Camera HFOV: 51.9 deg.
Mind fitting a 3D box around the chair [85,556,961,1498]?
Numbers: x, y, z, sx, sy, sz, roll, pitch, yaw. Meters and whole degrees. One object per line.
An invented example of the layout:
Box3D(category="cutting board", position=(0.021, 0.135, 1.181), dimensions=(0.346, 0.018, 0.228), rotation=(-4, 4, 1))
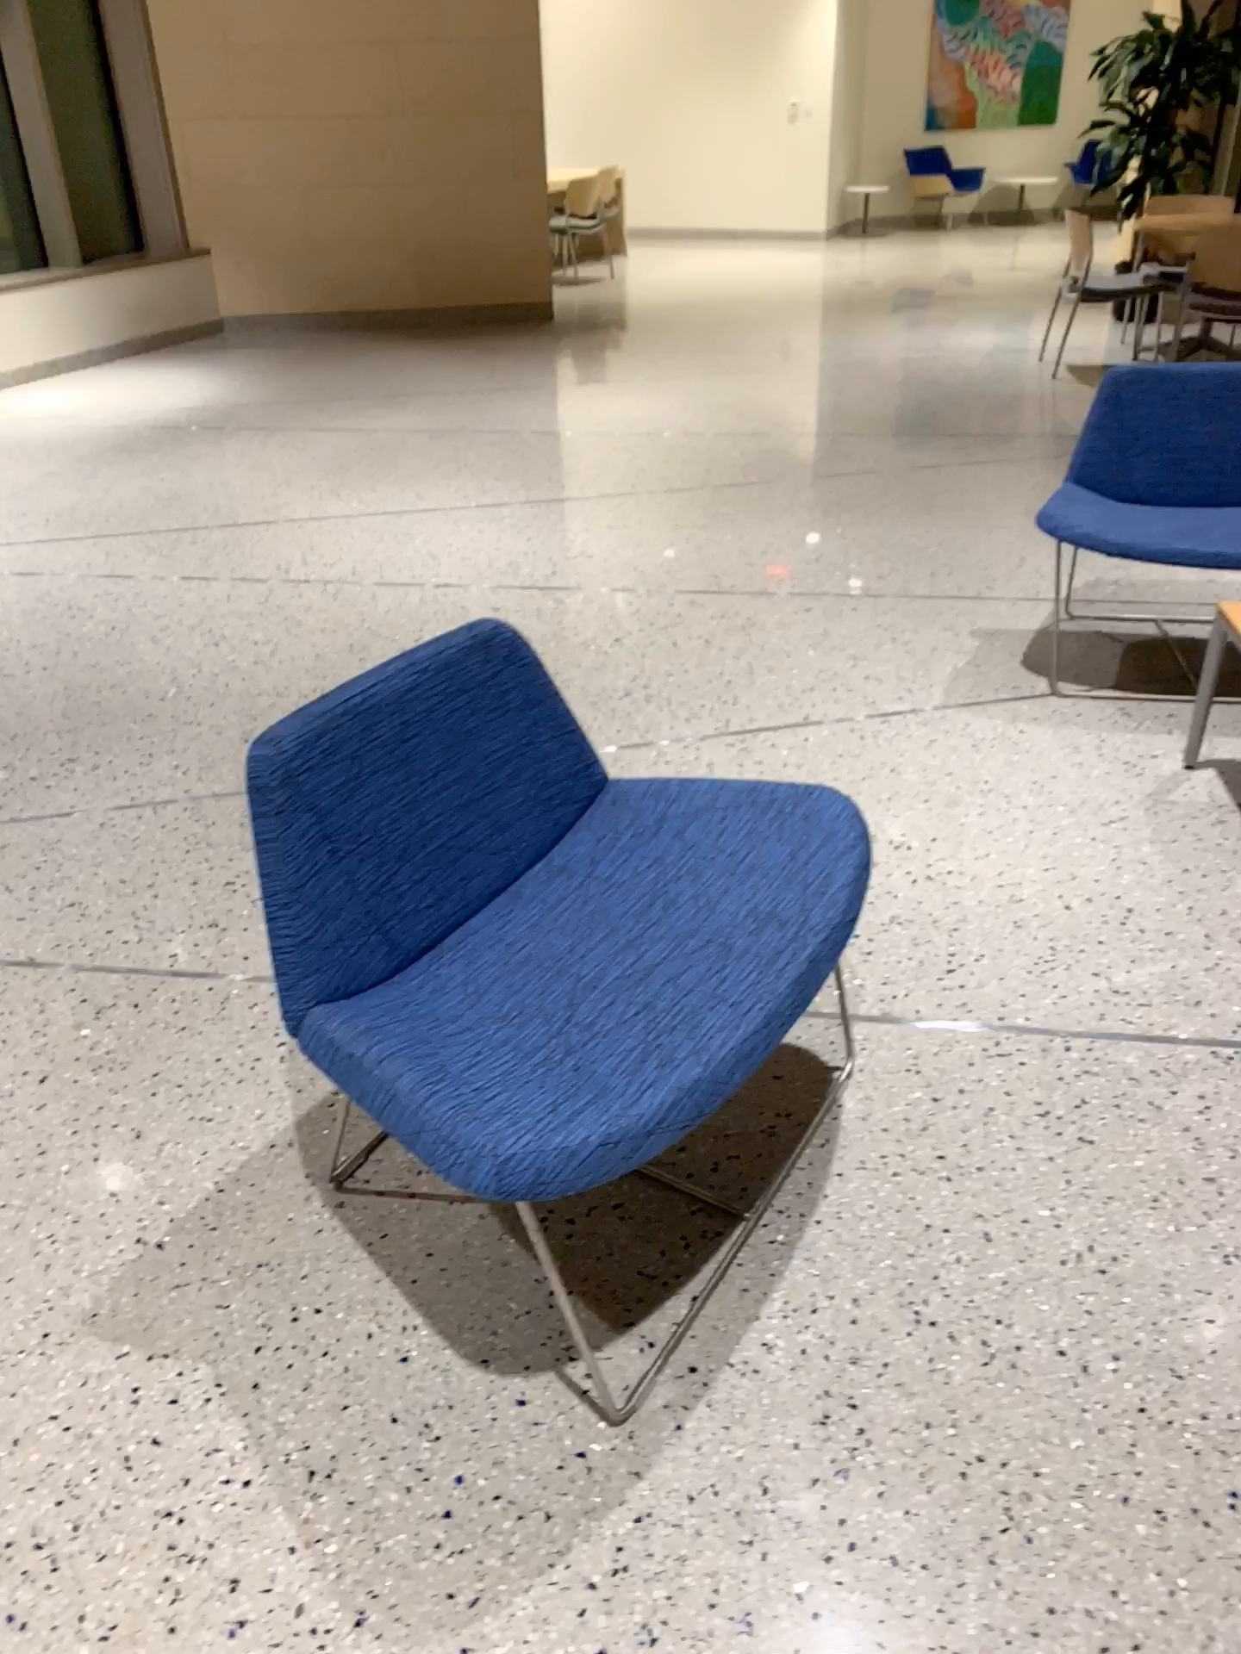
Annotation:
Box3D(category="chair", position=(-0.042, 0.149, 1.738), dimensions=(0.662, 0.698, 0.947), rotation=(15, 33, 27))
